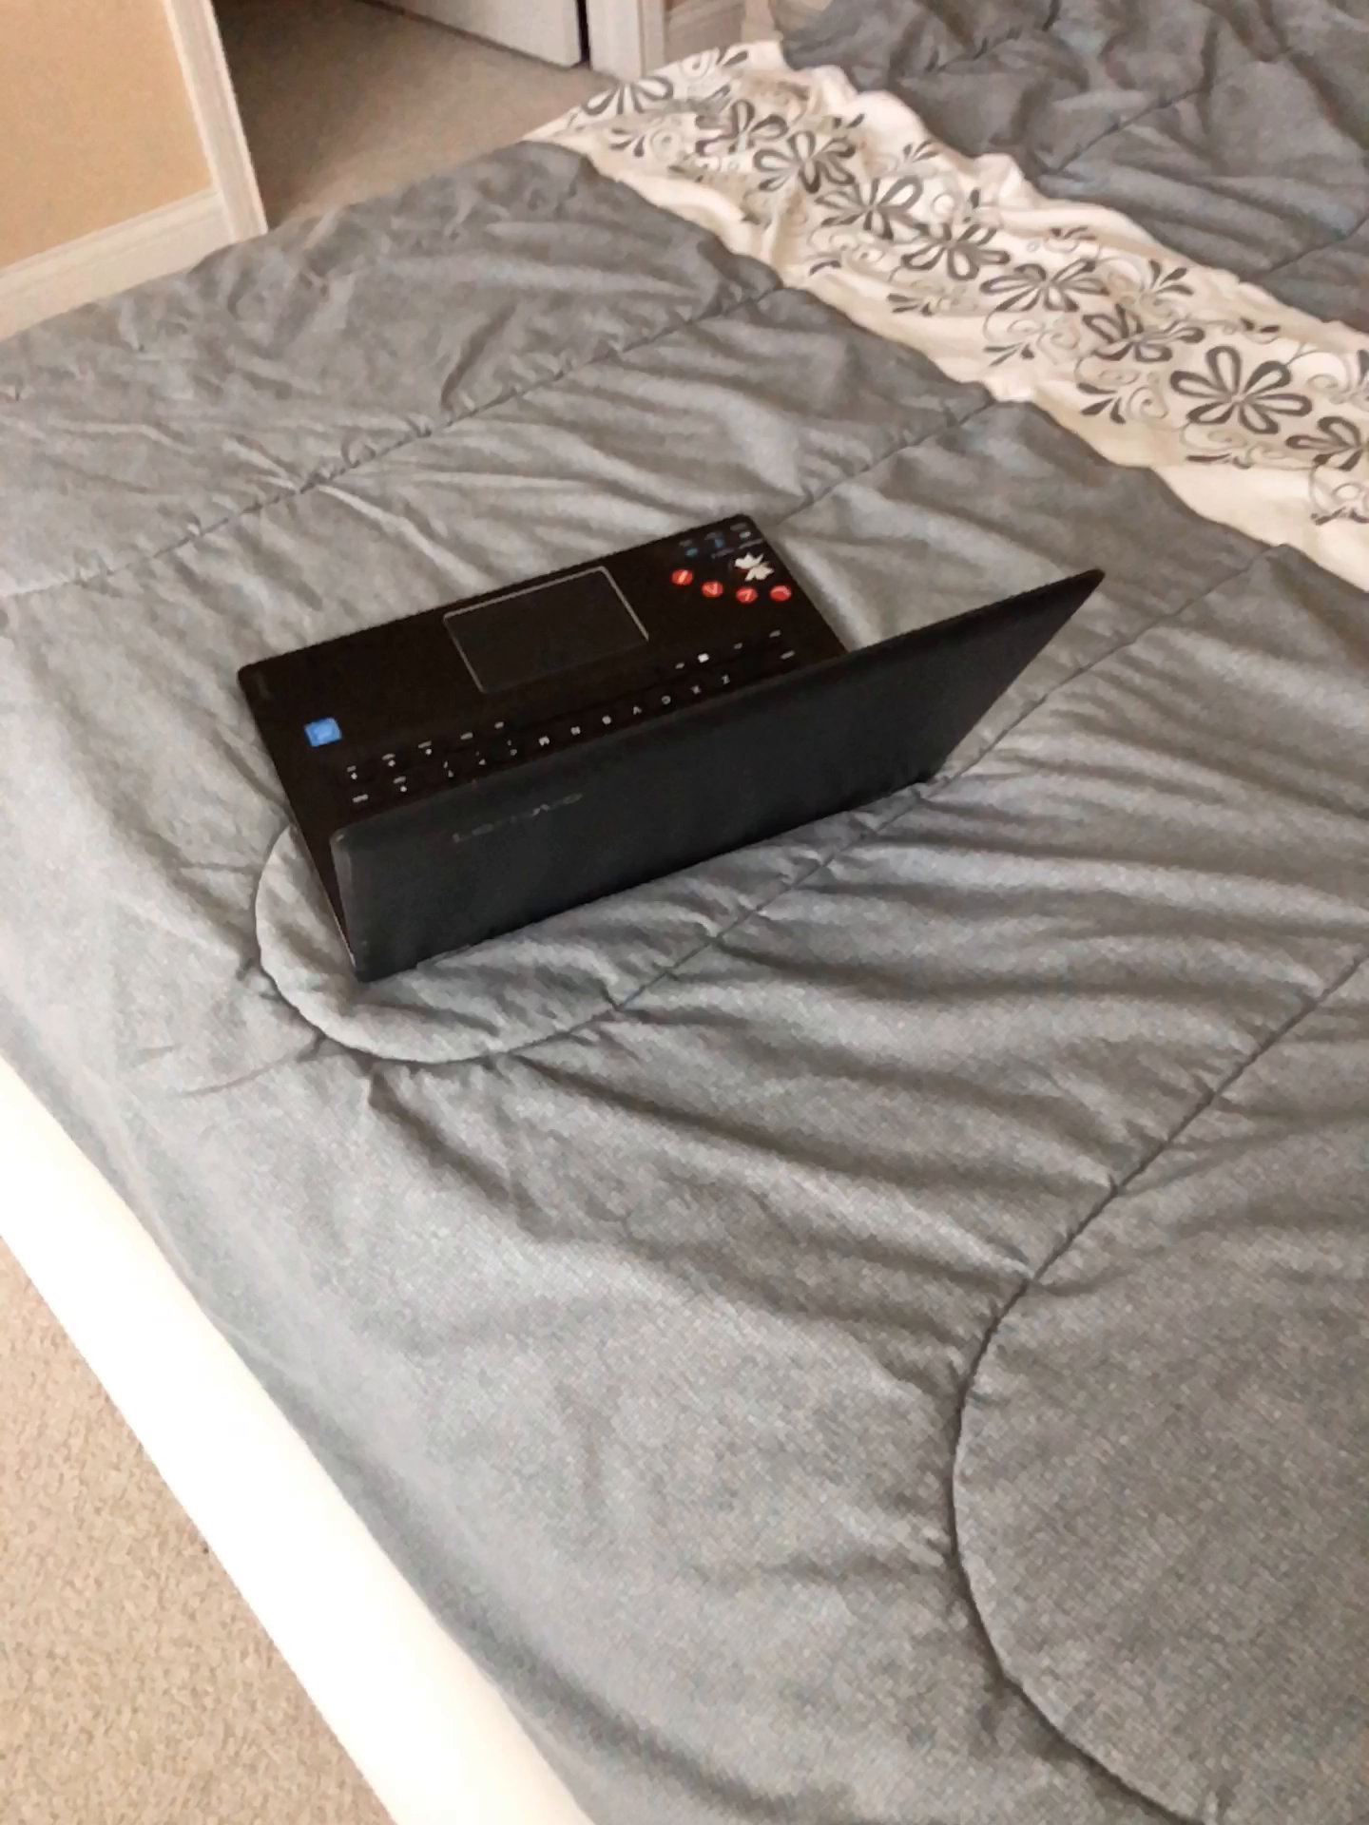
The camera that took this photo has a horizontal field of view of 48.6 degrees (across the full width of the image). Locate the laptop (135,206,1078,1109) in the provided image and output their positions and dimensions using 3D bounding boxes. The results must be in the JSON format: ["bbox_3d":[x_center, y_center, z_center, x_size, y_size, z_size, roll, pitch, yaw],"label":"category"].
[{"bbox_3d":[-0.052,-0.158,0.835,0.361,0.214,0.353,-20,54,-13],"label":"laptop"}]
